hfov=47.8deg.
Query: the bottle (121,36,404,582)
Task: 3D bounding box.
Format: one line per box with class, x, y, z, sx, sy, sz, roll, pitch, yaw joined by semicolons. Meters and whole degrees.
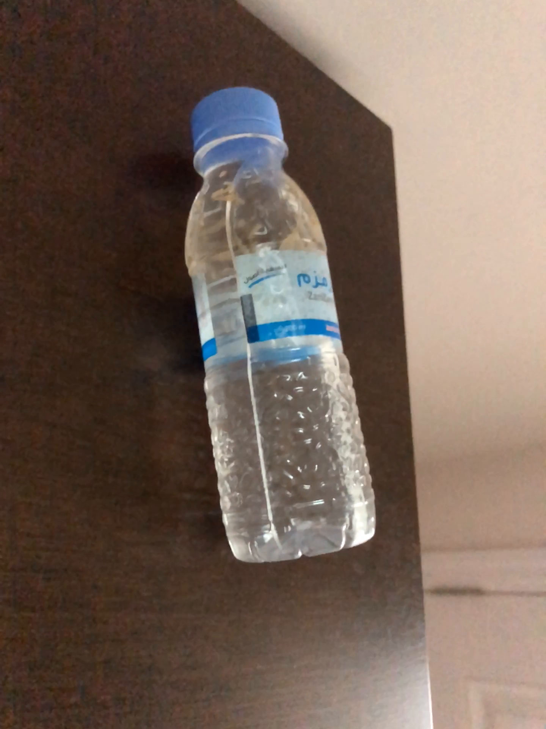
bottle;-0.005;-0.016;0.210;0.050;0.050;0.160;3;74;-54
